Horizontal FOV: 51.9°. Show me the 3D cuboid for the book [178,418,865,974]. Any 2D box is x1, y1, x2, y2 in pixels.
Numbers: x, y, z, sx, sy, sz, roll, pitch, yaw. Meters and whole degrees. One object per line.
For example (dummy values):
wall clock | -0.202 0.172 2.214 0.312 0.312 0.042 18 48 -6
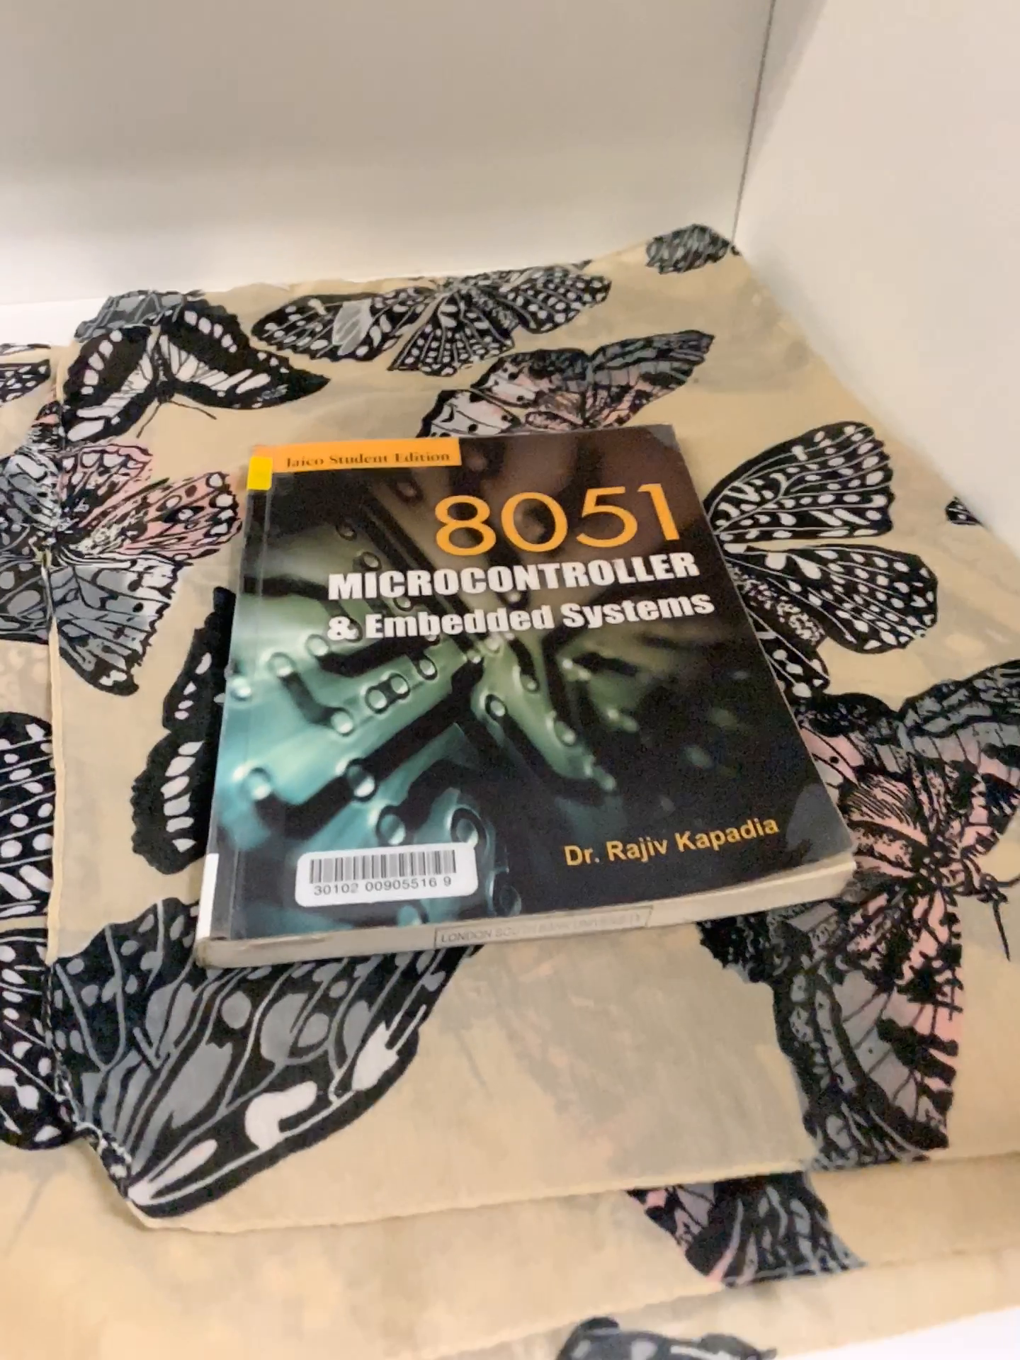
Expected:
book | -0.008 -0.017 0.368 0.183 0.020 0.237 -4 45 -5
